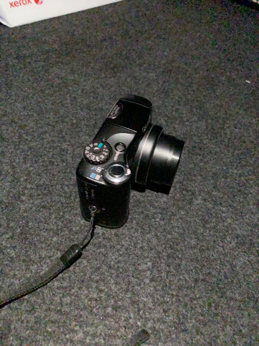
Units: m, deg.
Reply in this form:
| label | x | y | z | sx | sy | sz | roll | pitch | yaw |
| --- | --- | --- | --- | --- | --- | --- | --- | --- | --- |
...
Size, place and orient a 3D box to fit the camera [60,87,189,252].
| label | x | y | z | sx | sy | sz | roll | pitch | yaw |
| --- | --- | --- | --- | --- | --- | --- | --- | --- | --- |
| camera | 0.001 | -0.006 | 0.241 | 0.070 | 0.079 | 0.108 | 16 | 51 | 9 |
